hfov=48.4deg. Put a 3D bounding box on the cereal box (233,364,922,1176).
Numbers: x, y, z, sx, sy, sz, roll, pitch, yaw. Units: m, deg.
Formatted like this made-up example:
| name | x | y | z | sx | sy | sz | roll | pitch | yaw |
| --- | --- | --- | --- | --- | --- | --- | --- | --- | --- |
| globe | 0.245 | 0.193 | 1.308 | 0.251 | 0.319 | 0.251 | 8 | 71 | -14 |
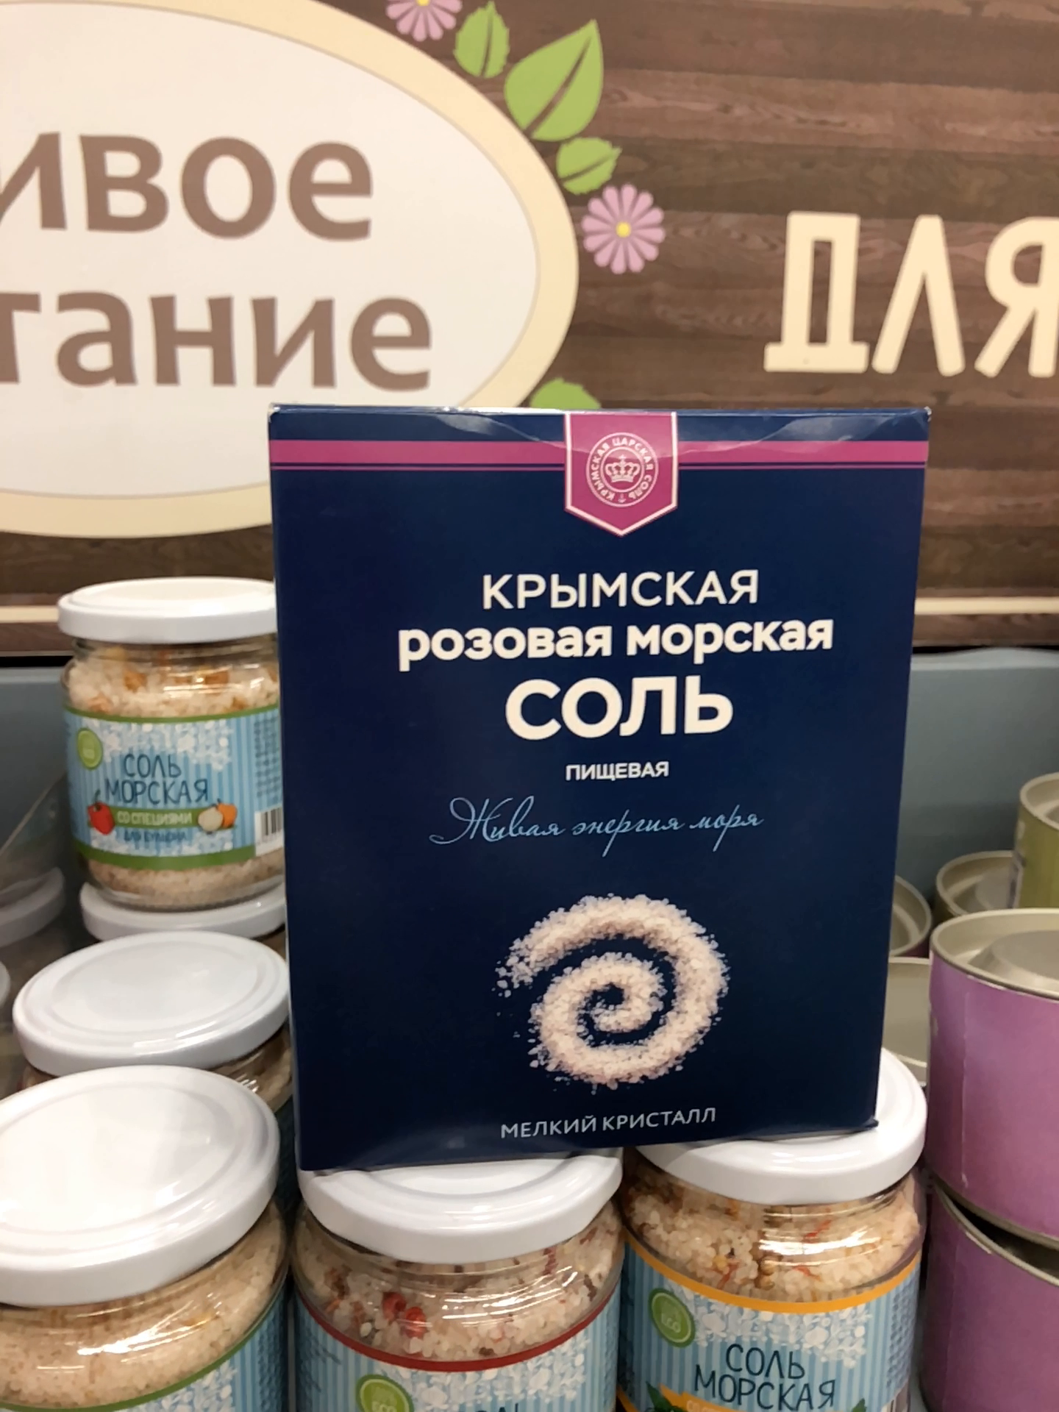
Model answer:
| name | x | y | z | sx | sy | sz | roll | pitch | yaw |
| --- | --- | --- | --- | --- | --- | --- | --- | --- | --- |
| cereal box | 0.007 | 0.011 | 0.238 | 0.120 | 0.149 | 0.040 | -1 | 13 | -8 |
